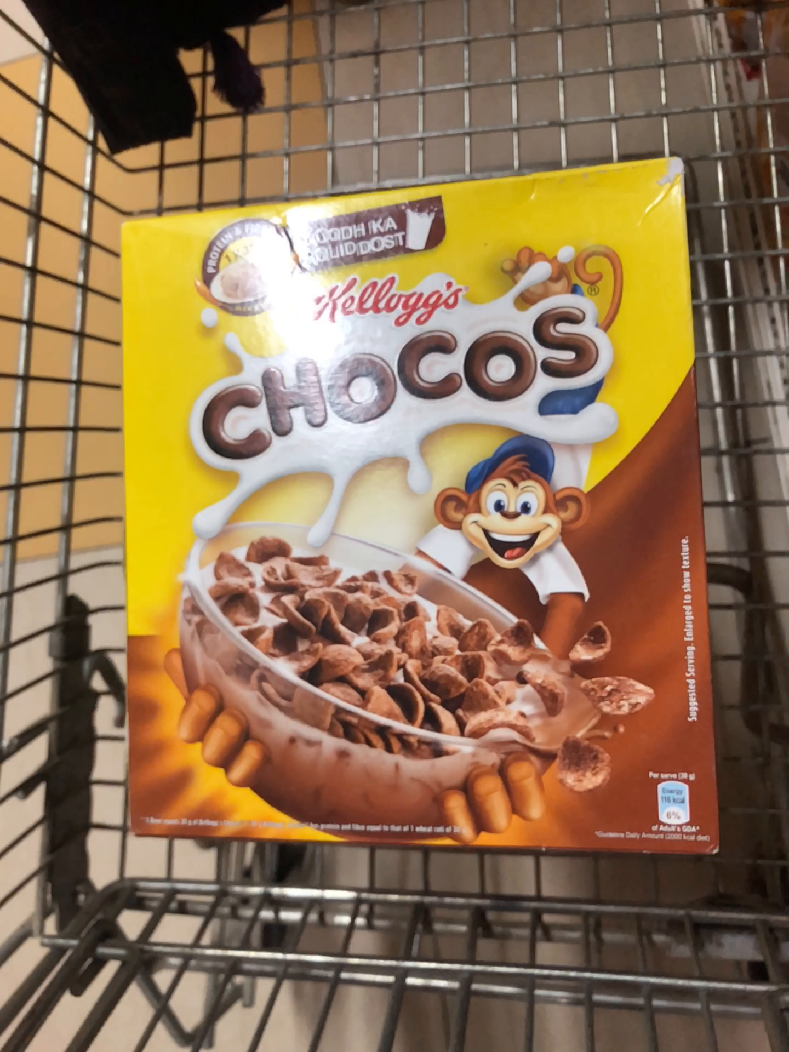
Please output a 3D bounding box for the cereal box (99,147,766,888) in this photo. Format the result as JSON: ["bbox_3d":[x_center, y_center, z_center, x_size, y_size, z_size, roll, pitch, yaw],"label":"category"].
[{"bbox_3d":[0.009,0.001,0.279,0.180,0.070,0.190,-2,88,12],"label":"cereal box"}]
